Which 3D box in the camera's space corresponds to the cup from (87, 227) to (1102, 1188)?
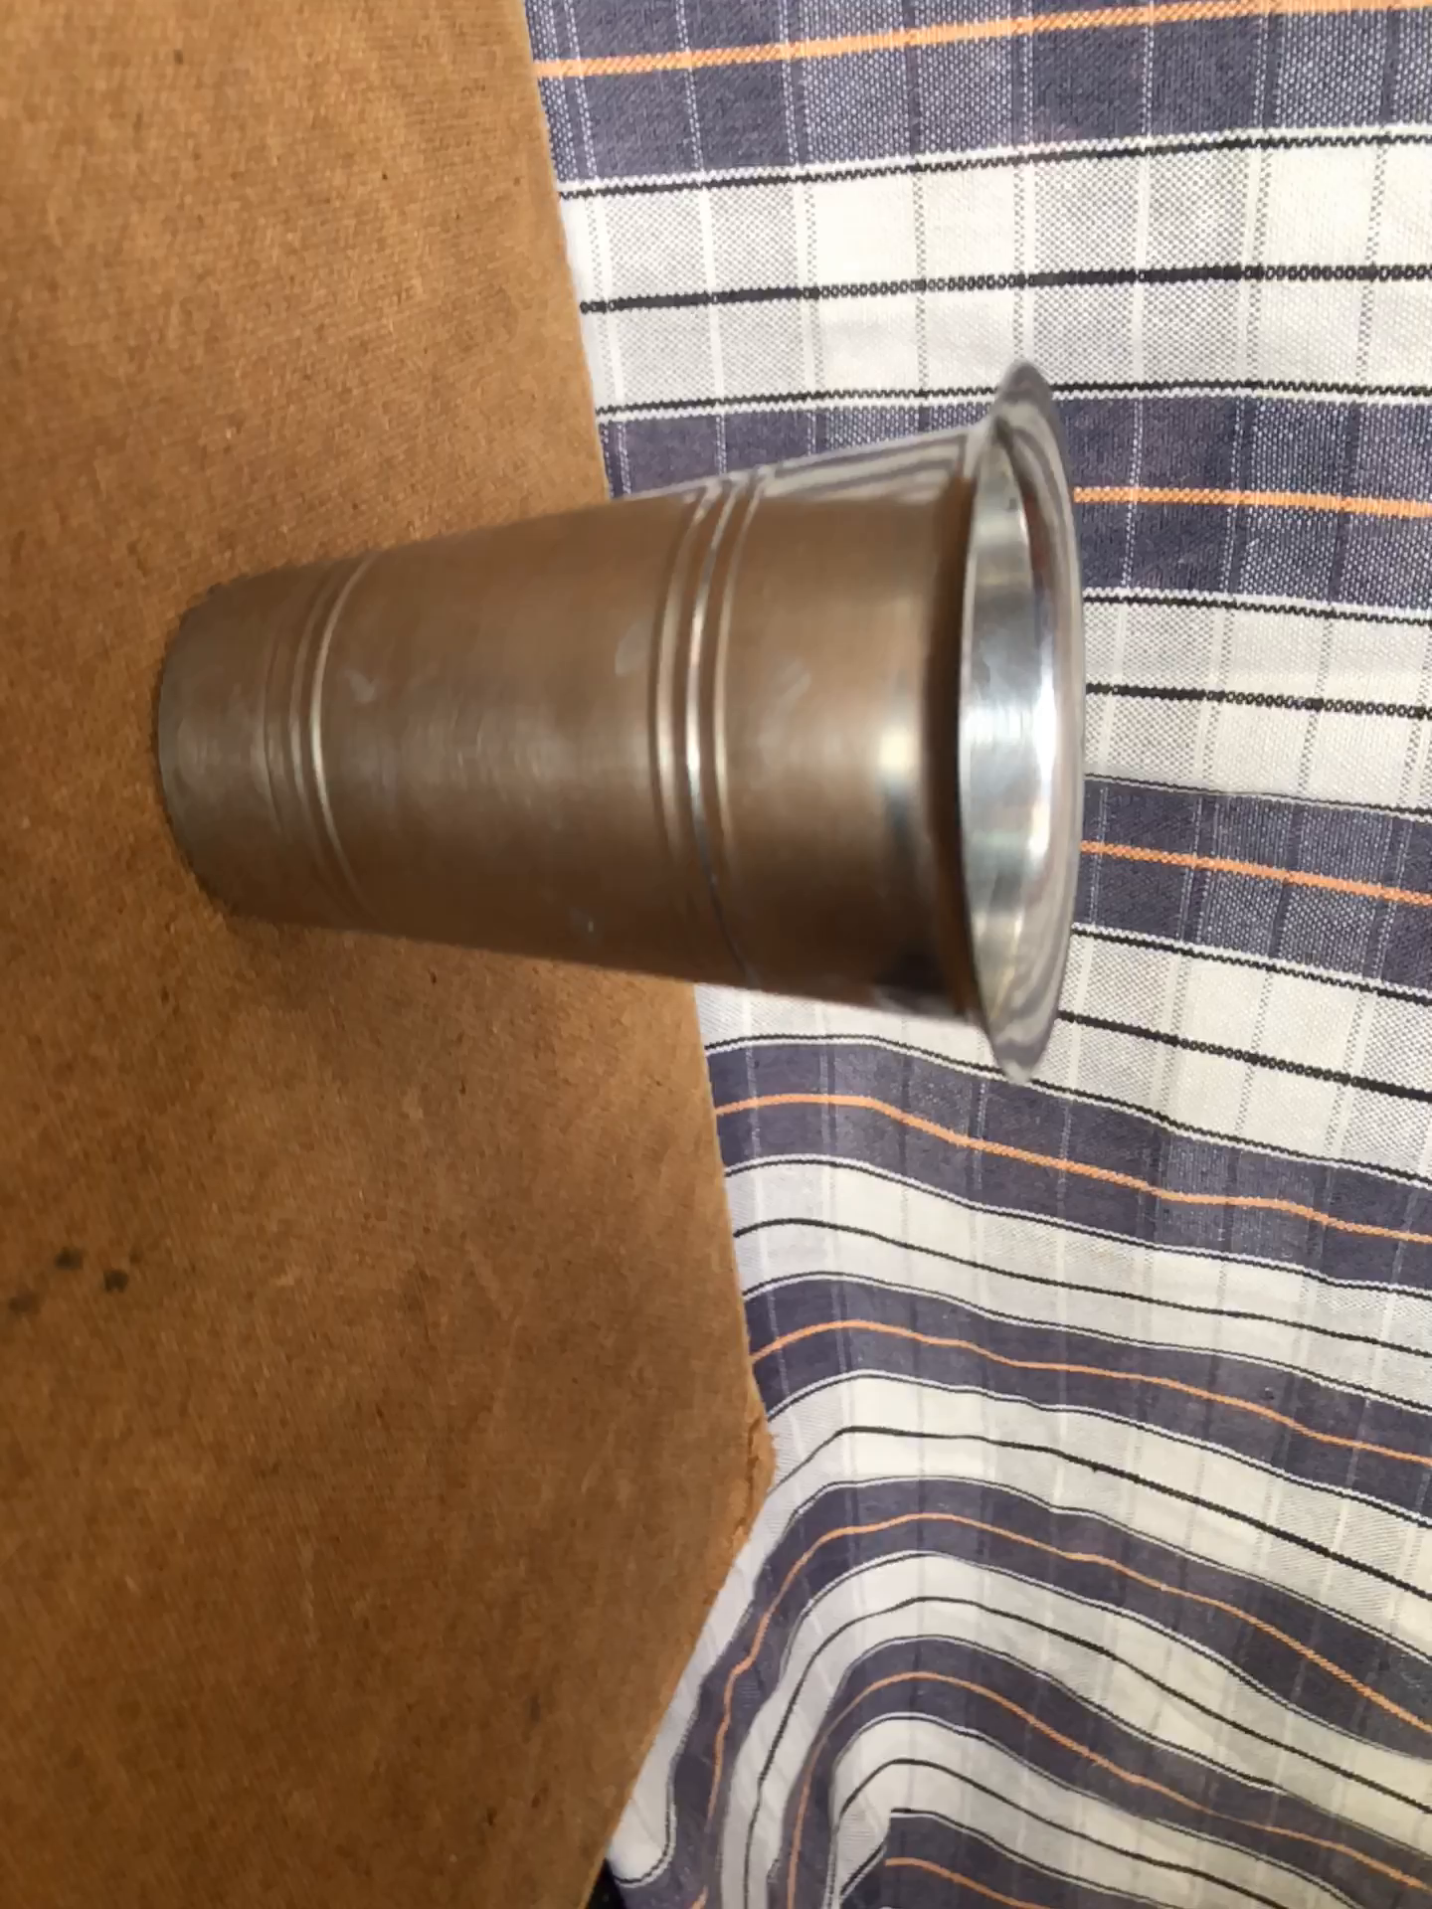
[{"bbox_3d":[-0.006,-0.020,0.190,0.091,0.089,0.080,2,89,-70],"label":"cup"}]
